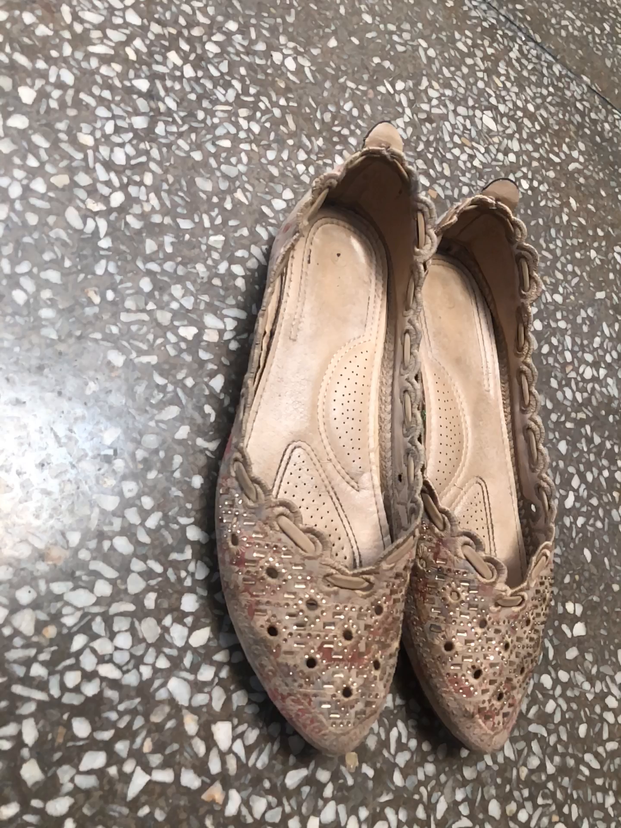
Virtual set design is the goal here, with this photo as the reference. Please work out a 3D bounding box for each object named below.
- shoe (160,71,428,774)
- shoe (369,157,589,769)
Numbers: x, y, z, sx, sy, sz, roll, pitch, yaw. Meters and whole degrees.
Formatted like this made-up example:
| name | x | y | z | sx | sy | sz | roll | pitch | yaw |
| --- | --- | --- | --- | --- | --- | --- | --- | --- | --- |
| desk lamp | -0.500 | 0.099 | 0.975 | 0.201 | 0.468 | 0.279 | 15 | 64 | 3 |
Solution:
| name | x | y | z | sx | sy | sz | roll | pitch | yaw |
| --- | --- | --- | --- | --- | --- | --- | --- | --- | --- |
| shoe | -0.001 | -0.006 | 0.298 | 0.090 | 0.040 | 0.280 | 12 | 68 | -28 |
| shoe | 0.082 | 0.017 | 0.336 | 0.090 | 0.040 | 0.270 | 12 | 72 | -28 |
